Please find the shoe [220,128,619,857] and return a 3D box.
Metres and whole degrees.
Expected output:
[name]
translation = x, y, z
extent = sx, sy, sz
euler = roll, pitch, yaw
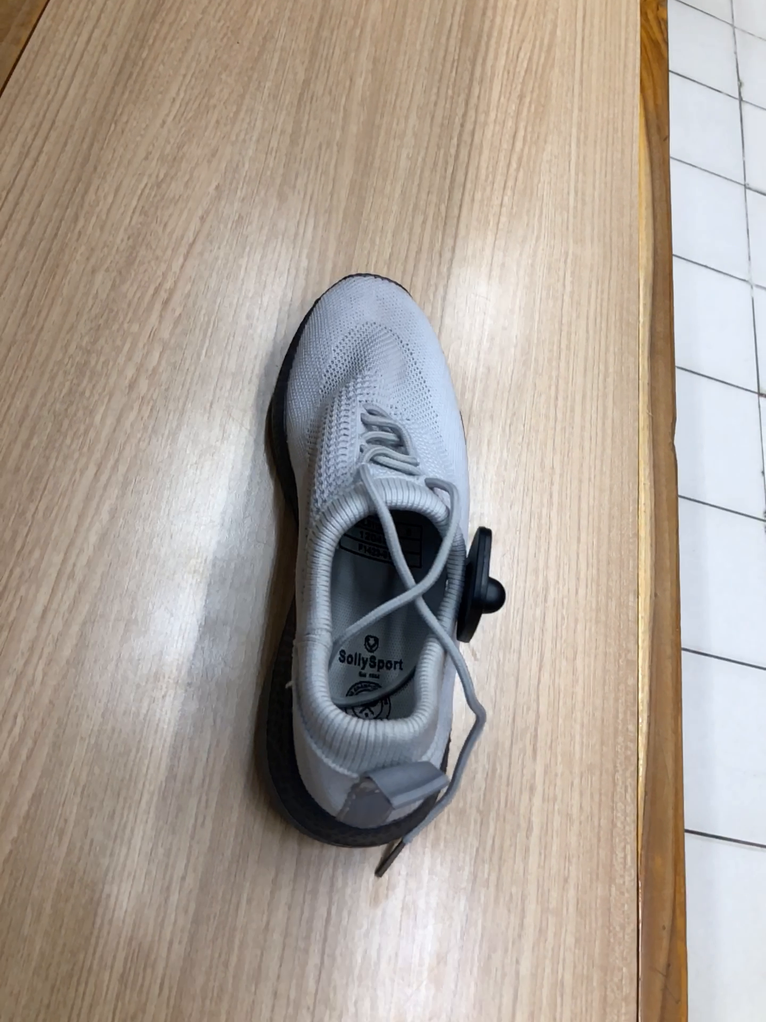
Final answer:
[shoe]
translation = 0.009, -0.003, 0.353
extent = 0.106, 0.122, 0.265
euler = 10, 64, -15
